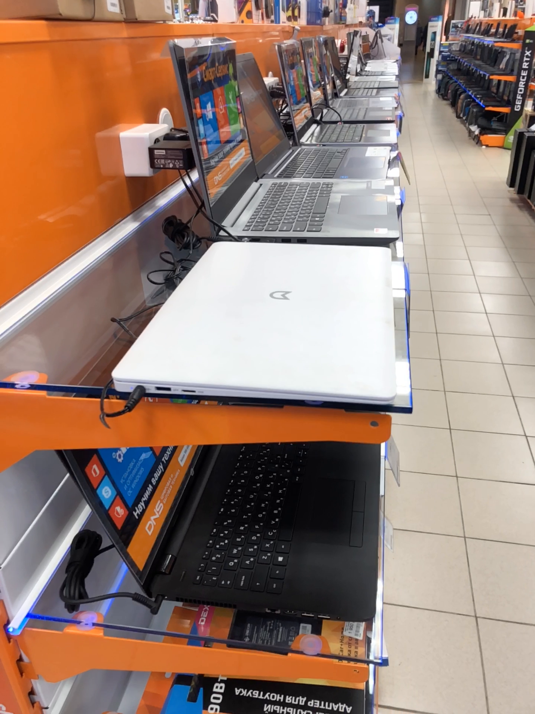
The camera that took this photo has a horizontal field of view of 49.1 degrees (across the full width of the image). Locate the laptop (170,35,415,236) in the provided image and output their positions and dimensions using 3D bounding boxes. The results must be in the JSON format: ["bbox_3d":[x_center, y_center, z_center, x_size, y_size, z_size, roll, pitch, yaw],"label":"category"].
[{"bbox_3d":[0.044,-0.341,0.863,0.278,0.224,0.346,2,29,7],"label":"laptop"}]

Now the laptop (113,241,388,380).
[{"bbox_3d":[0.008,-0.064,0.577,0.211,0.002,0.314,3,29,9],"label":"laptop"}]

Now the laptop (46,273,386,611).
[{"bbox_3d":[-0.021,0.071,0.744,0.306,0.228,0.366,4,30,11],"label":"laptop"}]
